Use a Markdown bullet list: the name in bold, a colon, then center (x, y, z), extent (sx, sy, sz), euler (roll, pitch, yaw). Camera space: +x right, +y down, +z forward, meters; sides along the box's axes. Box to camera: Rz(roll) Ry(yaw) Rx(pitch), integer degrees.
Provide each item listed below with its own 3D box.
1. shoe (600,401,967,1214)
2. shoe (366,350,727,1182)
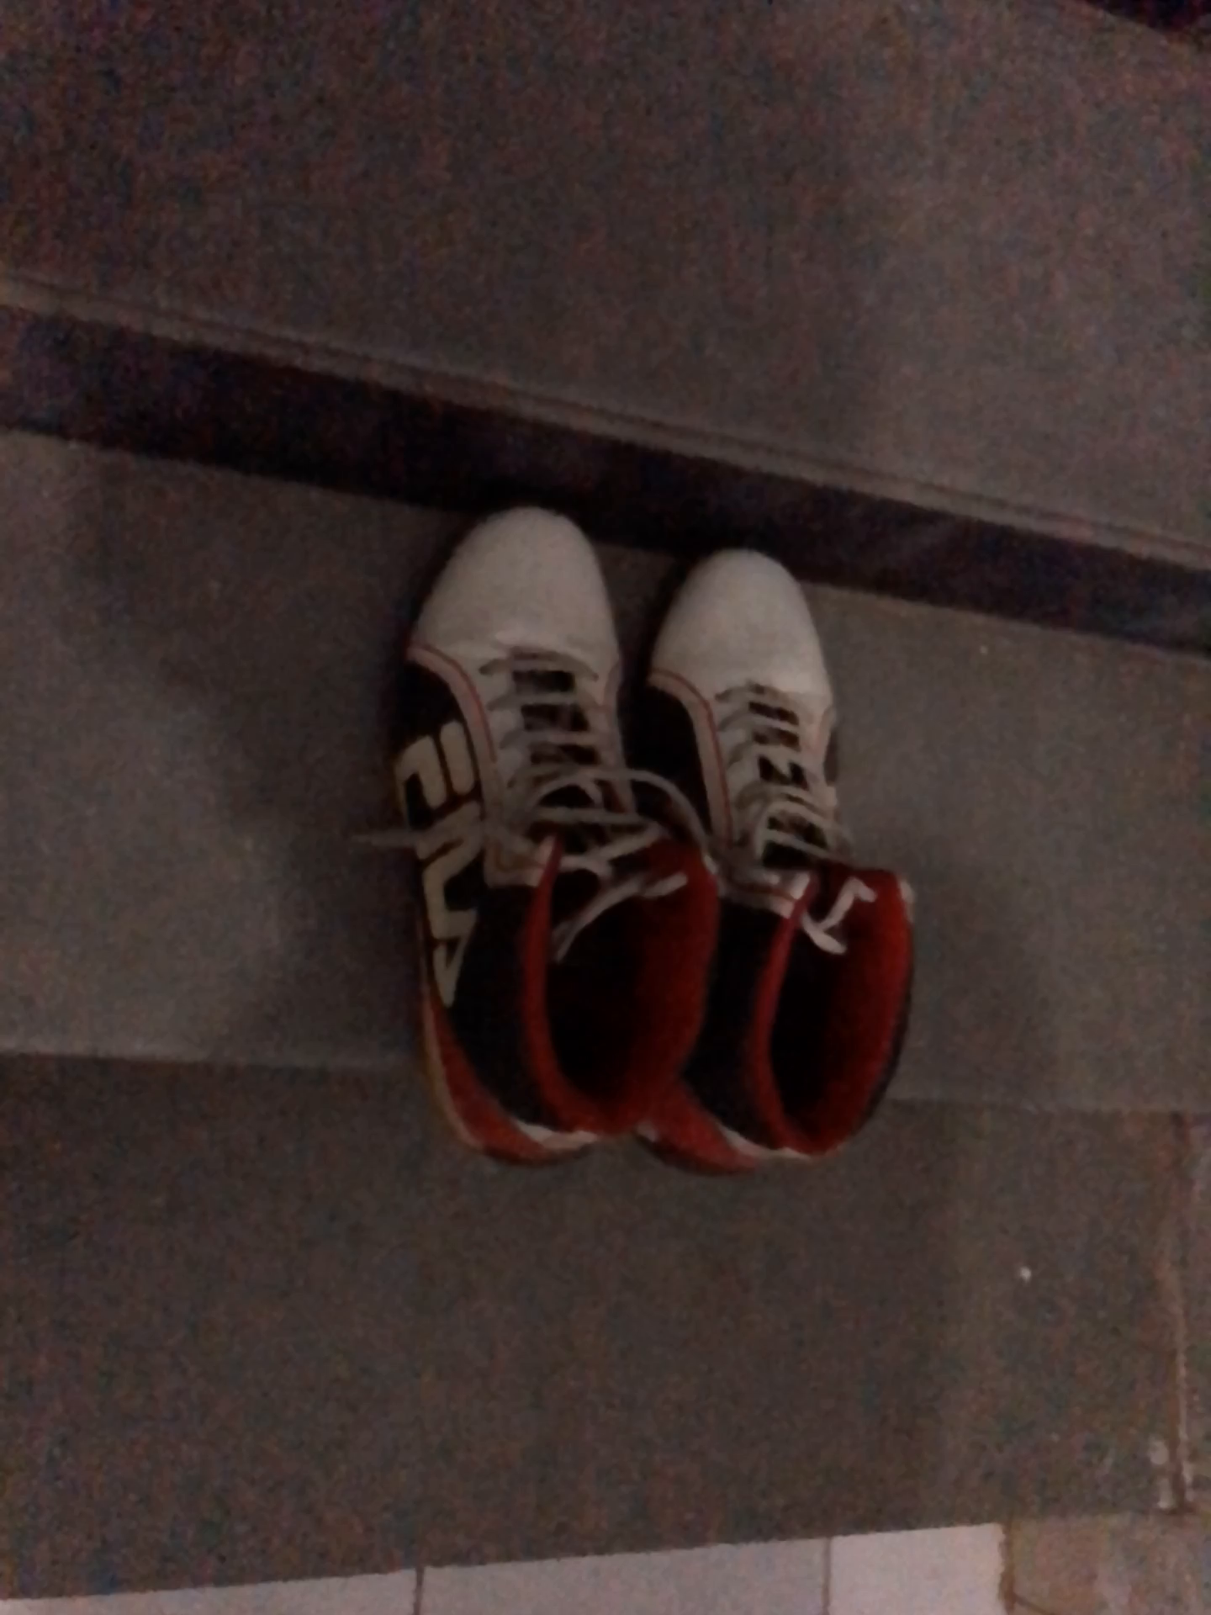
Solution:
- **shoe**: center (0.074, 0.005, 0.568), extent (0.110, 0.100, 0.310), euler (7, 76, -19)
- **shoe**: center (-0.027, -0.009, 0.561), extent (0.110, 0.120, 0.310), euler (5, 77, -19)
